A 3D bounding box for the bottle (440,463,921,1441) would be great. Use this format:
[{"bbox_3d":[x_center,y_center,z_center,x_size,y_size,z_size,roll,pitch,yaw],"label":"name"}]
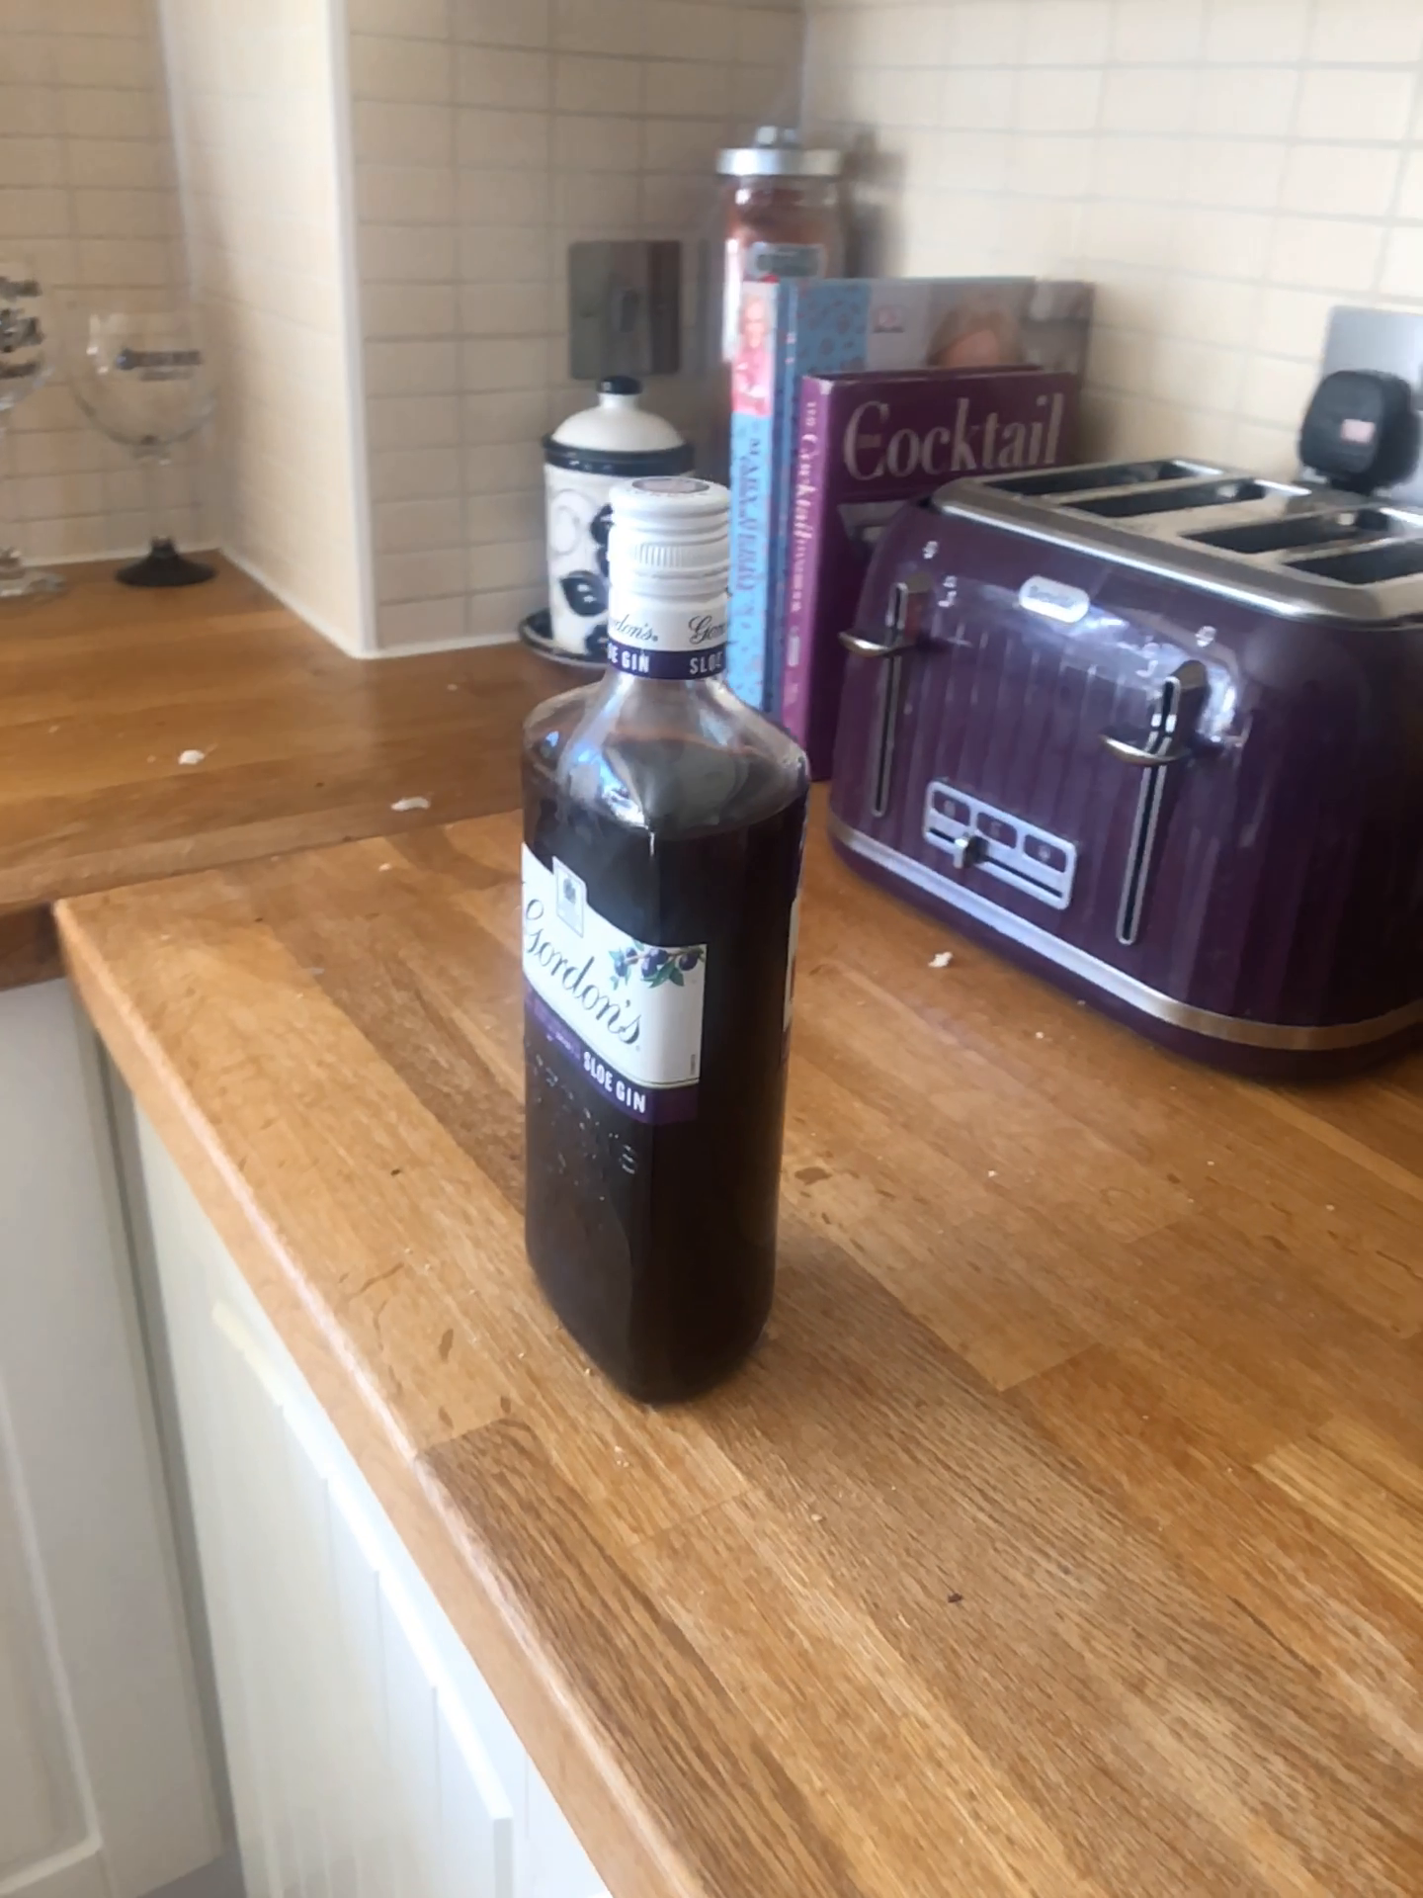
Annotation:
[{"bbox_3d":[-0.016,0.000,0.435,0.080,0.238,0.100,-11,30,-26],"label":"bottle"}]
